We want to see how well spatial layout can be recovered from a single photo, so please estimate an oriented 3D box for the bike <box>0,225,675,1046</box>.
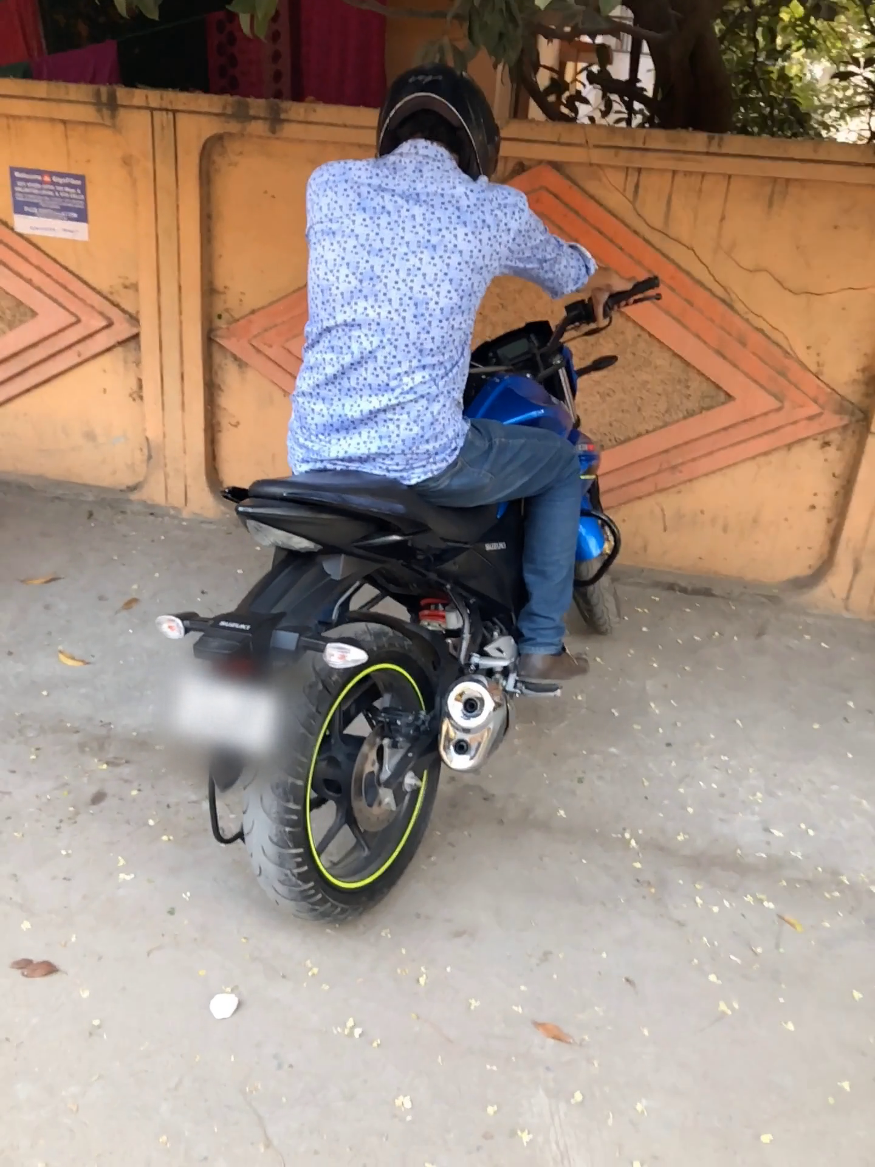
[{"bbox_3d":[-0.045,-0.181,2.412,0.794,1.188,1.898,14,26,18],"label":"bike"}]
